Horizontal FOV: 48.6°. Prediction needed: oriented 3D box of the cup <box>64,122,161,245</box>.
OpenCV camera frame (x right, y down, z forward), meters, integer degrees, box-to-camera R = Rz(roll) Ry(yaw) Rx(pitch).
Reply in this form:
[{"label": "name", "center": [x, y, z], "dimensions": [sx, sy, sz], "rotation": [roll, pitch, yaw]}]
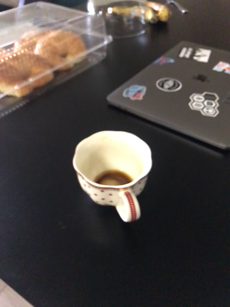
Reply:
[{"label": "cup", "center": [-0.008, 0.029, 0.301], "dimensions": [0.090, 0.070, 0.121], "rotation": [-4, 44, -4]}]
